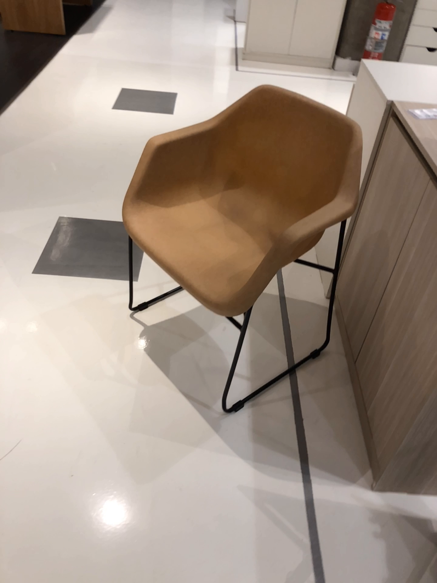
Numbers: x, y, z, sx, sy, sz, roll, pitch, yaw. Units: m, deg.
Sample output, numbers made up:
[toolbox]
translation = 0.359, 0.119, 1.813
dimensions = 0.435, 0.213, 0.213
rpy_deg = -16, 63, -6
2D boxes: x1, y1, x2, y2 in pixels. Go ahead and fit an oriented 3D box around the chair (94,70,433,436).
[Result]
[chair]
translation = 0.078, -0.144, 1.385
dimensions = 0.572, 0.704, 0.592
rpy_deg = -27, 51, -33
